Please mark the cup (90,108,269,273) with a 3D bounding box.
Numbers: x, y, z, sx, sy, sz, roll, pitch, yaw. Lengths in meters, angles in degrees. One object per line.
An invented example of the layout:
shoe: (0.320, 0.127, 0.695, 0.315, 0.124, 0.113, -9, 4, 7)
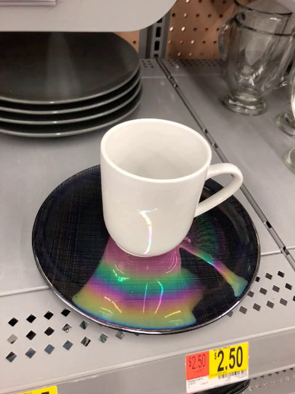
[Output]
cup: (0.016, -0.007, 0.274, 0.113, 0.098, 0.078, -7, 44, -15)
